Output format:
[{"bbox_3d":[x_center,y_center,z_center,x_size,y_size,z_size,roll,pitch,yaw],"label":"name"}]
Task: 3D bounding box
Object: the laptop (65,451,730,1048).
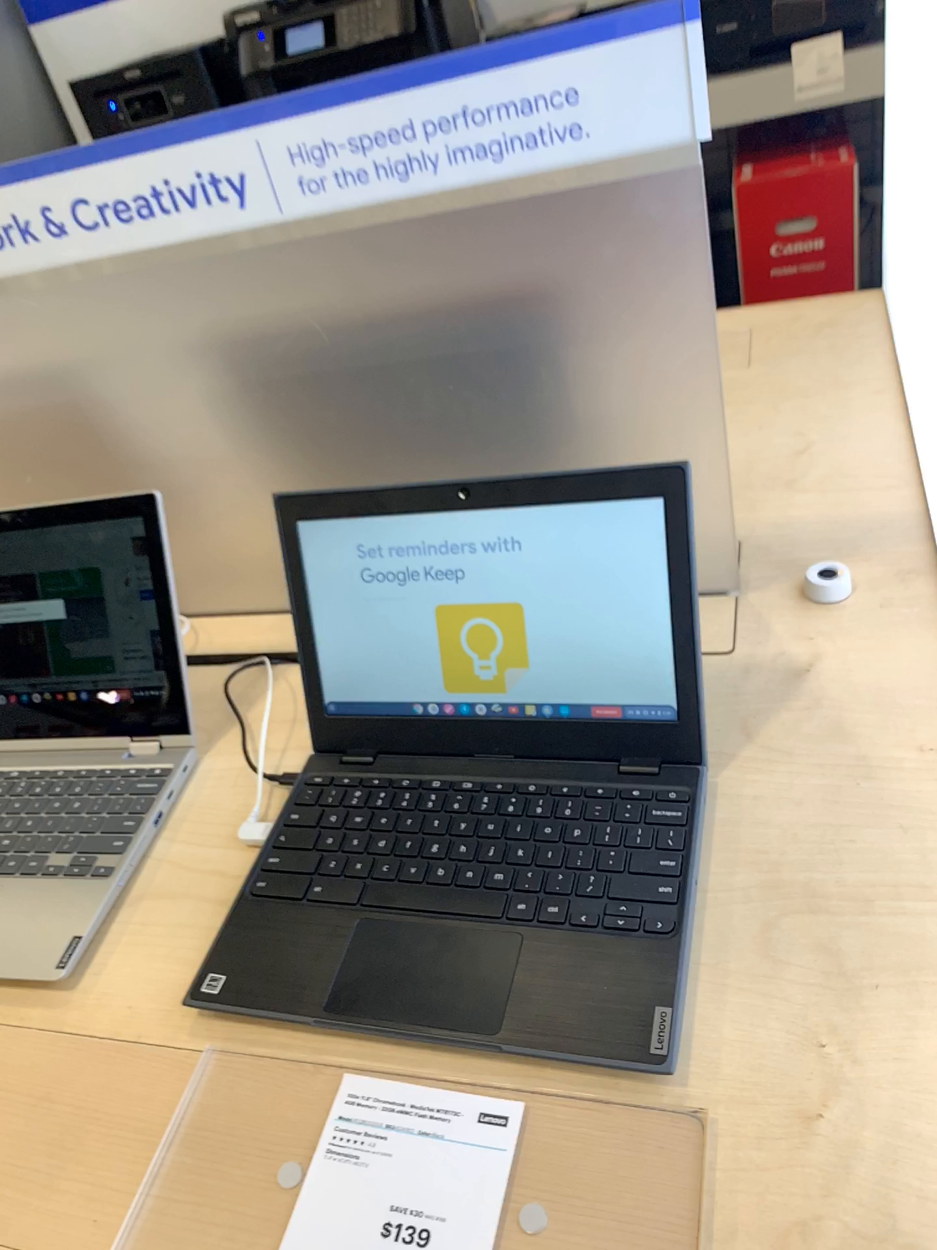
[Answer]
[{"bbox_3d":[-0.008,0.055,0.558,0.276,0.170,0.267,-2,38,22],"label":"laptop"}]
